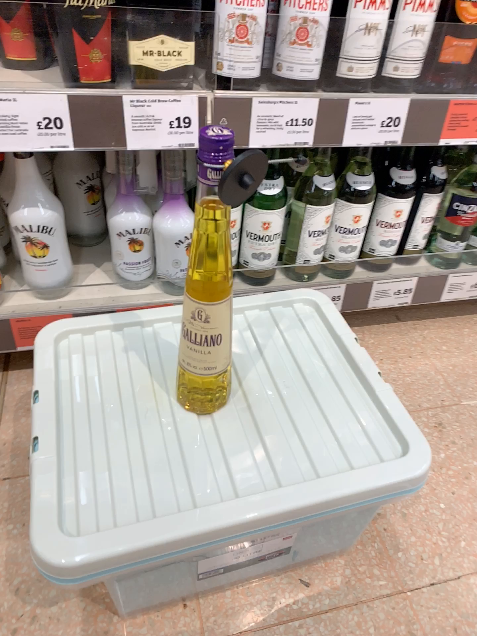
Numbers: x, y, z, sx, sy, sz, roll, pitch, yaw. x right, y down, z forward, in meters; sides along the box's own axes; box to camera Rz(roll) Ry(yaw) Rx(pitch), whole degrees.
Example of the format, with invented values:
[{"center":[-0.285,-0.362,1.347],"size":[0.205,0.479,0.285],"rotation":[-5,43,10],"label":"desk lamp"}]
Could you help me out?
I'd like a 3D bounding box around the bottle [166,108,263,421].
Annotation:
[{"center":[-0.032,-0.030,0.522],"size":[0.072,0.347,0.071],"rotation":[4,40,-3],"label":"bottle"}]
